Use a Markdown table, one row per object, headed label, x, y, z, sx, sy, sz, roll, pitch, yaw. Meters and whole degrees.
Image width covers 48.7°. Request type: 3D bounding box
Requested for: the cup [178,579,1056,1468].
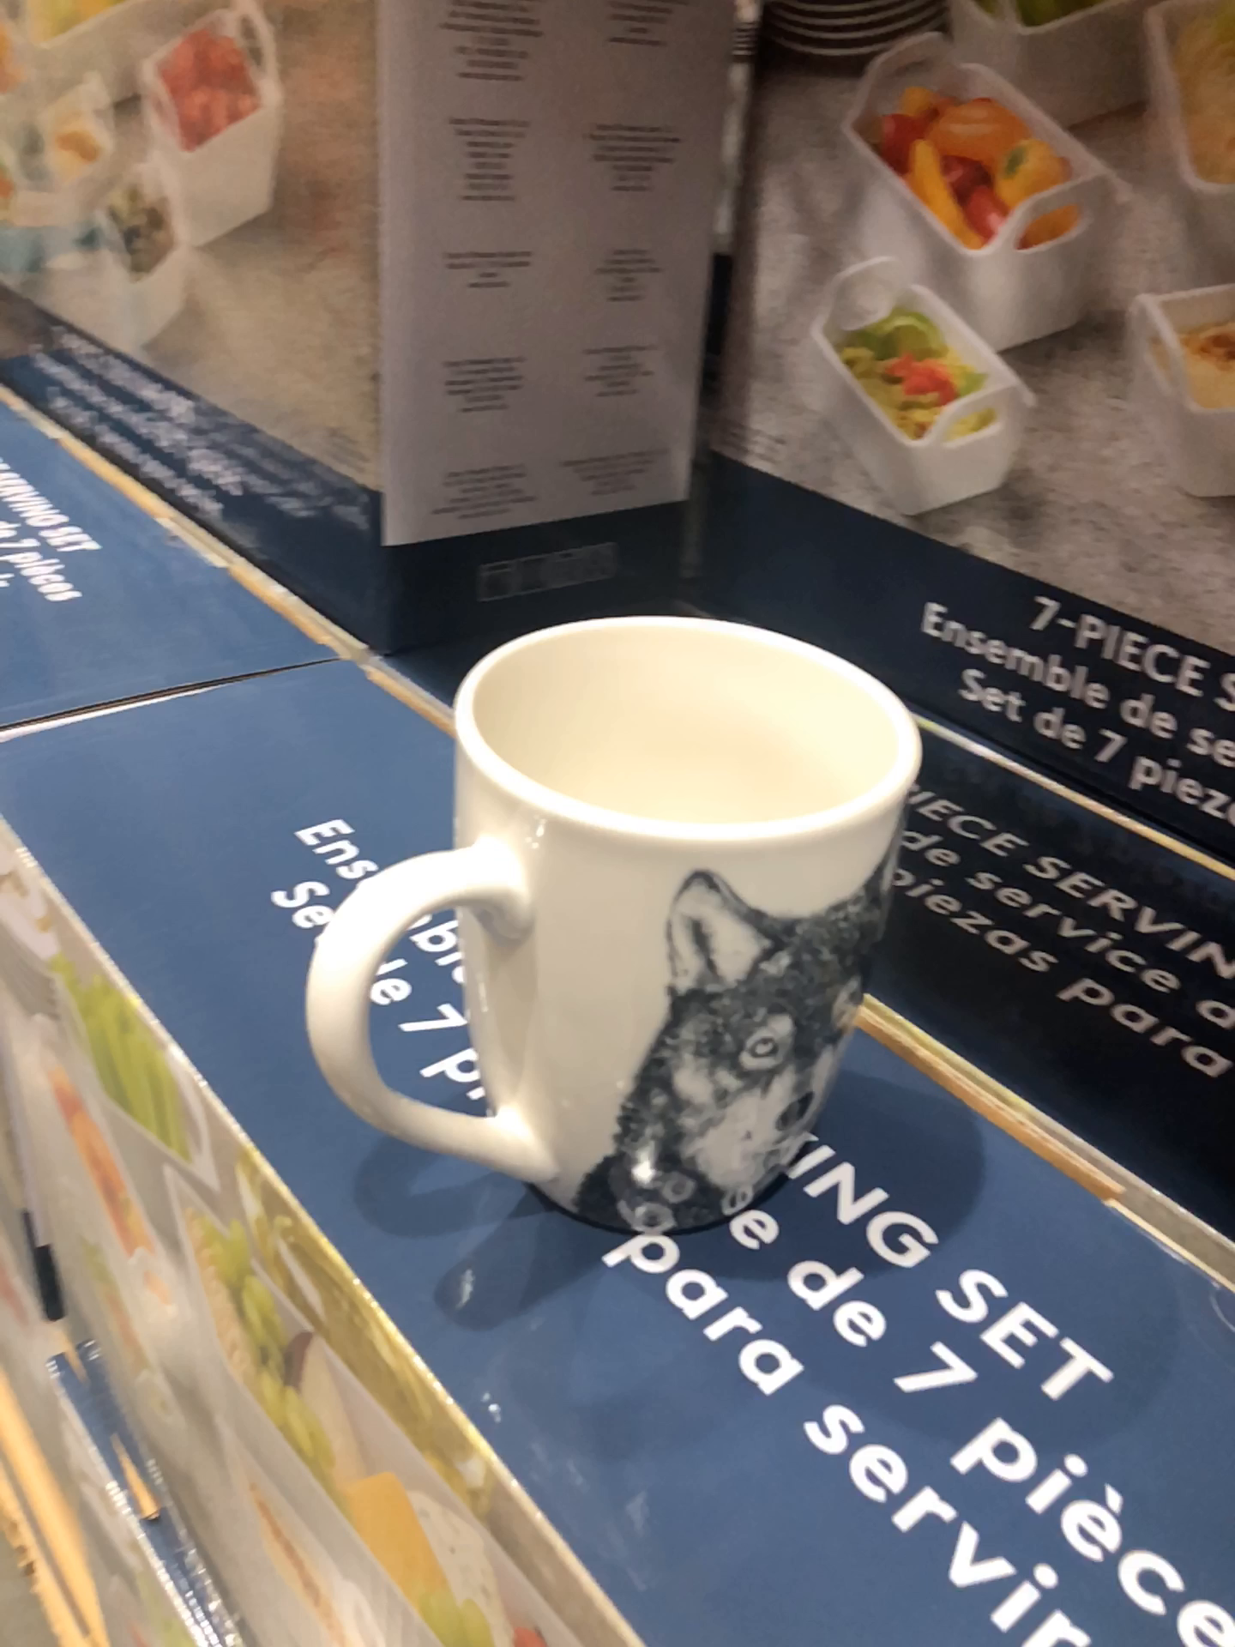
| label | x | y | z | sx | sy | sz | roll | pitch | yaw |
| --- | --- | --- | --- | --- | --- | --- | --- | --- | --- |
| cup | -0.001 | 0.025 | 0.269 | 0.129 | 0.102 | 0.093 | -20 | 38 | -37 |
